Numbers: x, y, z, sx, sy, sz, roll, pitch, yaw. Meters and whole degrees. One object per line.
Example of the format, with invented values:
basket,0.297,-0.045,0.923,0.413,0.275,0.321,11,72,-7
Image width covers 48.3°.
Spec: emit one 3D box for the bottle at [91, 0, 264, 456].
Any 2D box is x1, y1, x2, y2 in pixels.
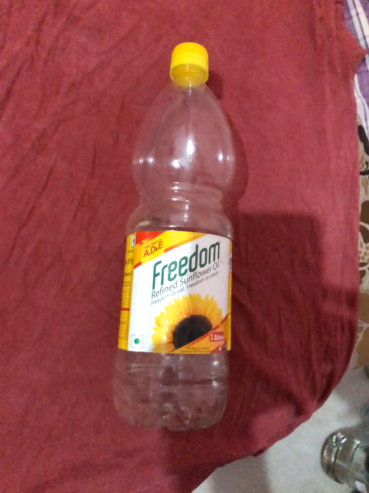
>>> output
bottle,-0.002,-0.014,0.284,0.080,0.060,0.270,8,82,-30
